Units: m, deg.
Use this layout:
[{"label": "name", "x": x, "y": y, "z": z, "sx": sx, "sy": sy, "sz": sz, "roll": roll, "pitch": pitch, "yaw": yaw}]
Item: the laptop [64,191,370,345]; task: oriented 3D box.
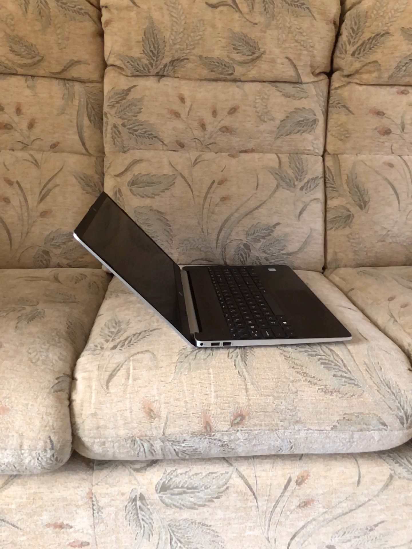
[{"label": "laptop", "x": 0.006, "y": -0.034, "z": 0.778, "sx": 0.397, "sy": 0.163, "sz": 0.340, "roll": -1, "pitch": 21, "yaw": -7}]
